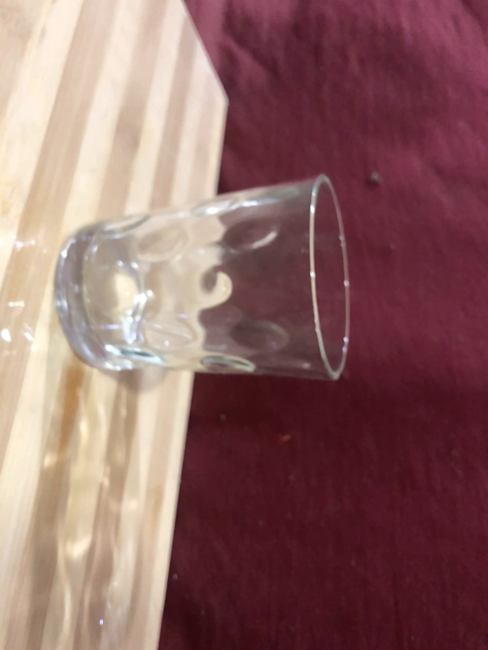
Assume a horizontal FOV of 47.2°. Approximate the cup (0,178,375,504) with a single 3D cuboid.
[{"bbox_3d":[-0.013,-0.001,0.231,0.100,0.119,0.100,-3,90,-74],"label":"cup"}]
